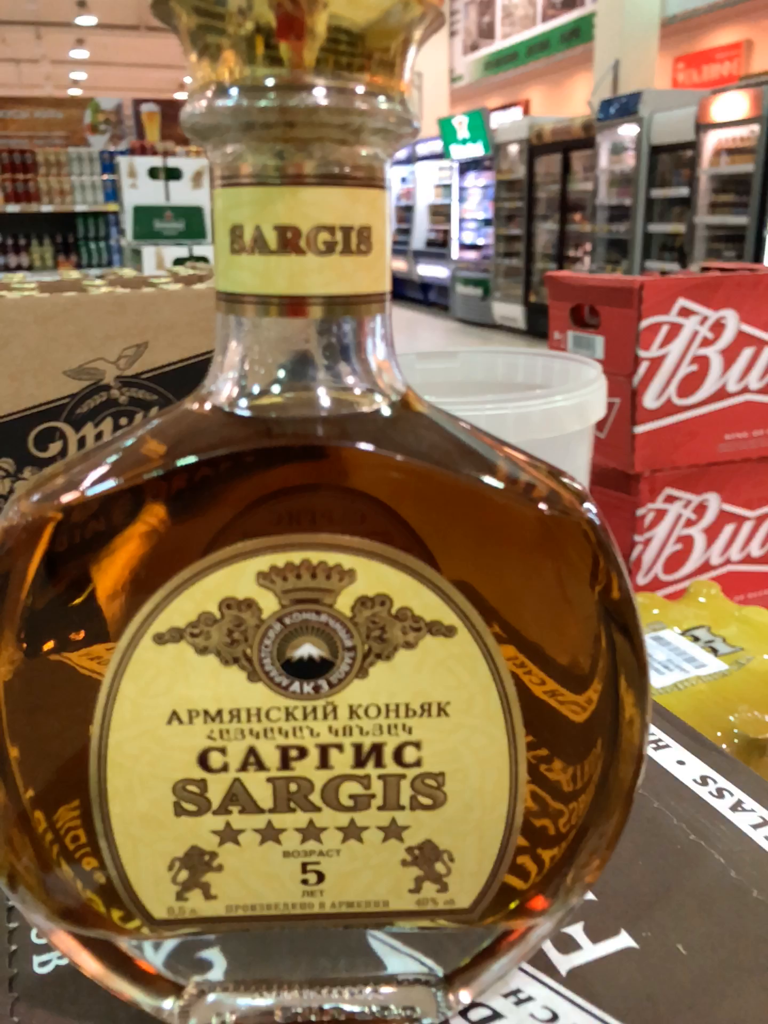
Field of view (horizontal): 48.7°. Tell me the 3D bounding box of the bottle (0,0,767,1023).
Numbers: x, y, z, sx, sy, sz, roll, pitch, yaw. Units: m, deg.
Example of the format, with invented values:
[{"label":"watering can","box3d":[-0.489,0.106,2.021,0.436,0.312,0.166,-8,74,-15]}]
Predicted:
[{"label":"bottle","box3d":[-0.012,0.011,0.179,0.140,0.209,0.070,-2,18,-4]}]
